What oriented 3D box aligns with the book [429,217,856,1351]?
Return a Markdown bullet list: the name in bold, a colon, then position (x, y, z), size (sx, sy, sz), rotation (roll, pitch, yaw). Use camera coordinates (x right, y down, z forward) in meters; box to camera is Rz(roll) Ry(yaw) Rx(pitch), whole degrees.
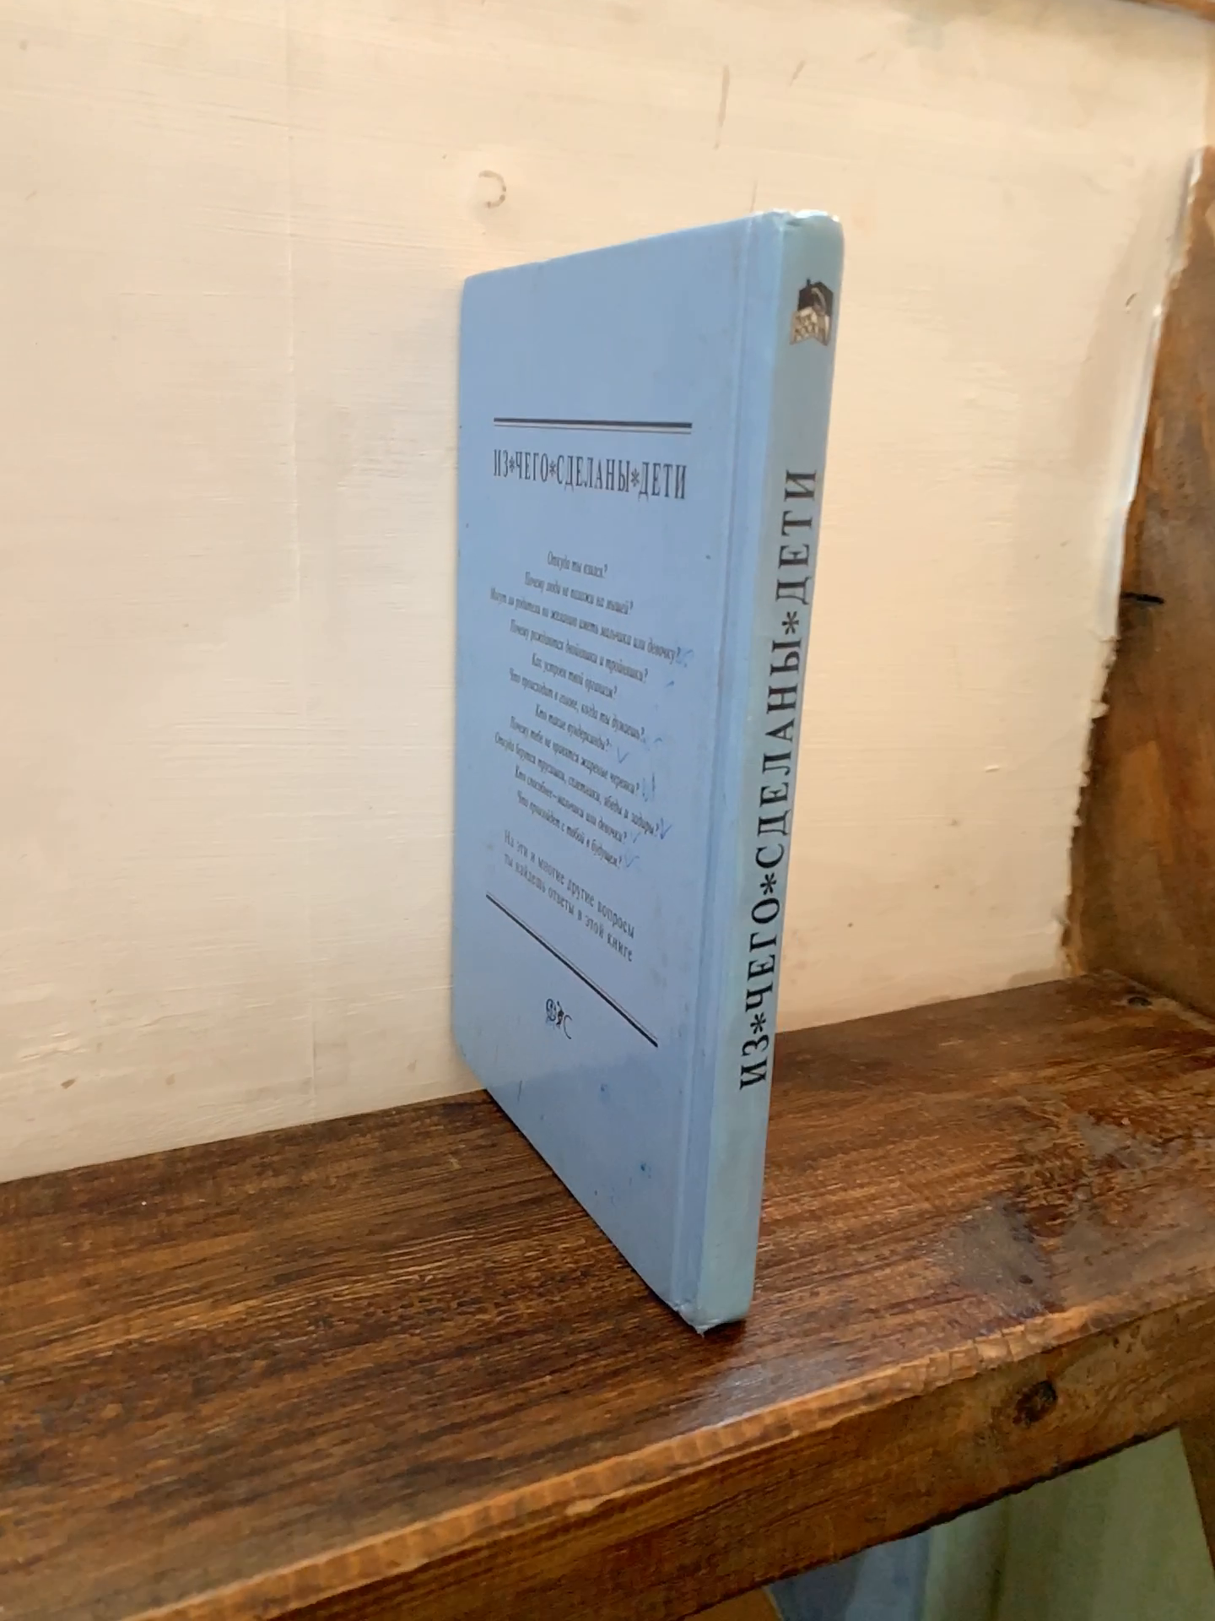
- **book**: position (-0.006, -0.012, 0.268), size (0.020, 0.195, 0.131), rotation (-6, 19, -27)
